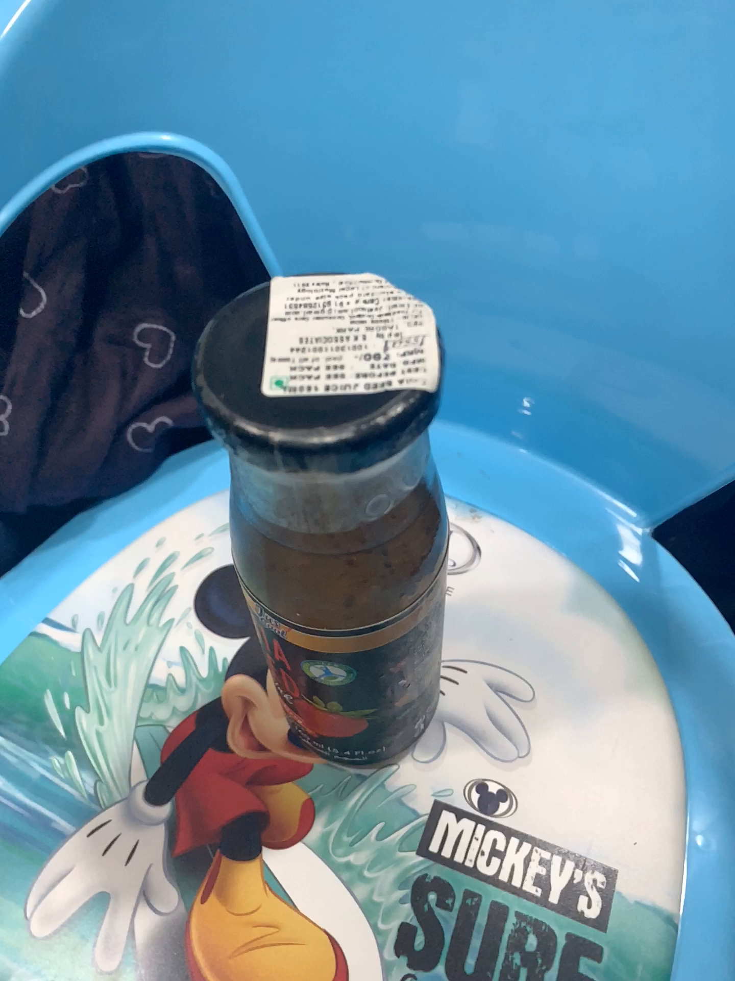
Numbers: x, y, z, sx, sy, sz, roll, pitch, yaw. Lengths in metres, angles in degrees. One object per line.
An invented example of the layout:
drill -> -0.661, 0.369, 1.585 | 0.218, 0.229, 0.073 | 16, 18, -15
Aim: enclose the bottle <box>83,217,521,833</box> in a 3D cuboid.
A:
bottle -> -0.011, 0.018, 0.170 | 0.050, 0.130, 0.050 | 0, 48, 0
